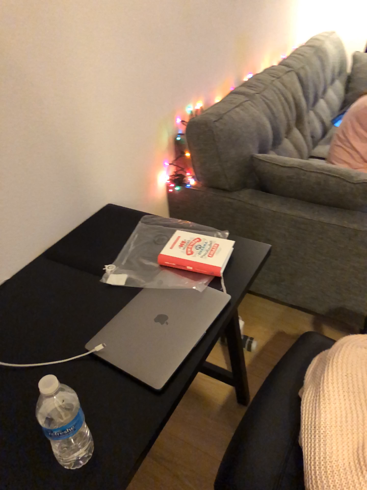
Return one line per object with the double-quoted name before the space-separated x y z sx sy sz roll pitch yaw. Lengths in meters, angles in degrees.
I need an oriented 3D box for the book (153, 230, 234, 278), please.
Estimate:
"book" 0.031 0.020 1.131 0.190 0.030 0.141 9 38 18
